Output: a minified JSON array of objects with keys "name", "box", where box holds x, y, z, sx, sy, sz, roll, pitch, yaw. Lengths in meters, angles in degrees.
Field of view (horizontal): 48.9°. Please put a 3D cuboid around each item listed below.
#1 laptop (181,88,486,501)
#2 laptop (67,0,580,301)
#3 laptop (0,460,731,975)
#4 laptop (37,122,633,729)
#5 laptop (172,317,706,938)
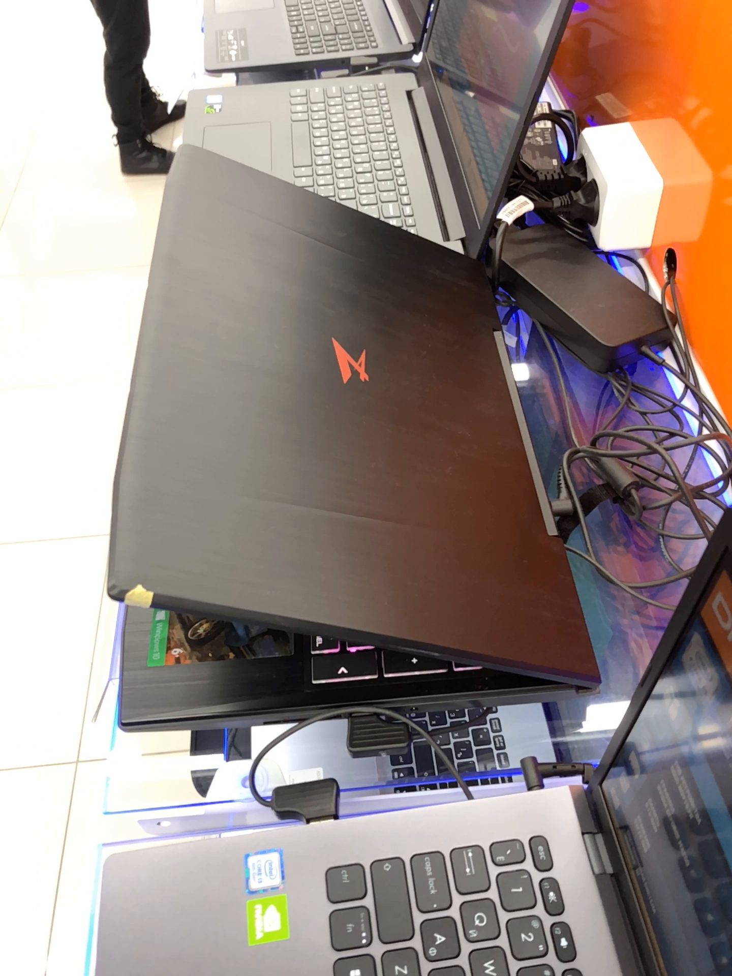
[{"name":"laptop","box":[-0.040,-0.237,0.950,0.272,0.270,0.408,-4,50,-1]},{"name":"laptop","box":[-0.030,-0.388,0.696,0.318,0.228,0.360,-6,50,-2]},{"name":"laptop","box":[0.005,0.221,0.178,0.230,0.216,0.353,-8,49,-3]},{"name":"laptop","box":[-0.026,-0.065,0.490,0.243,0.121,0.365,-6,50,-1]},{"name":"laptop","box":[0.026,0.102,0.656,0.286,0.256,0.396,-6,49,0]}]
